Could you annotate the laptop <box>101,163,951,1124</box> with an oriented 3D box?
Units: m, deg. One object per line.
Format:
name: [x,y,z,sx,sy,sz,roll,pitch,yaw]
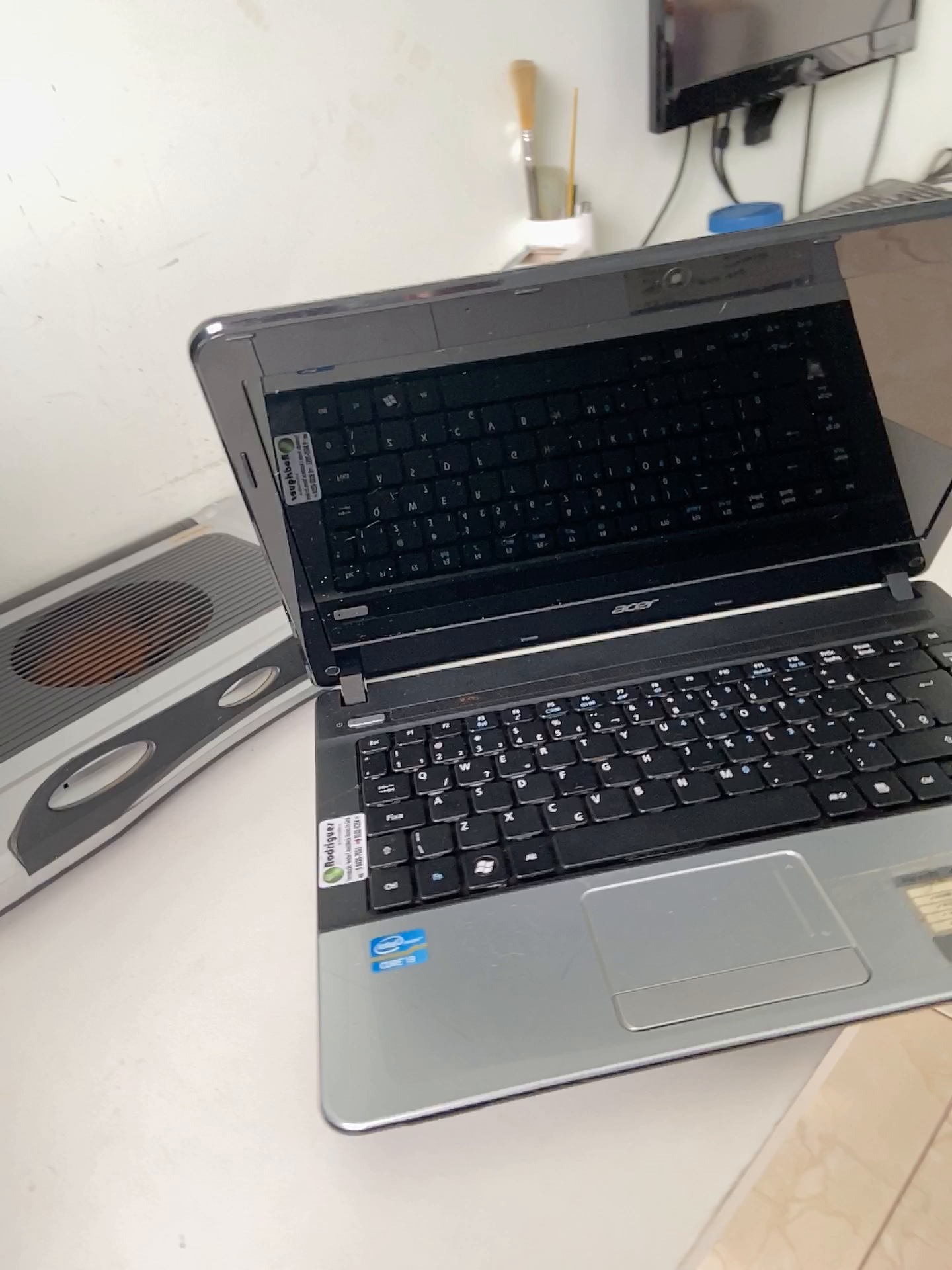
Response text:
laptop: [0.081,-0.025,0.365,0.326,0.211,0.240,-11,32,-4]
